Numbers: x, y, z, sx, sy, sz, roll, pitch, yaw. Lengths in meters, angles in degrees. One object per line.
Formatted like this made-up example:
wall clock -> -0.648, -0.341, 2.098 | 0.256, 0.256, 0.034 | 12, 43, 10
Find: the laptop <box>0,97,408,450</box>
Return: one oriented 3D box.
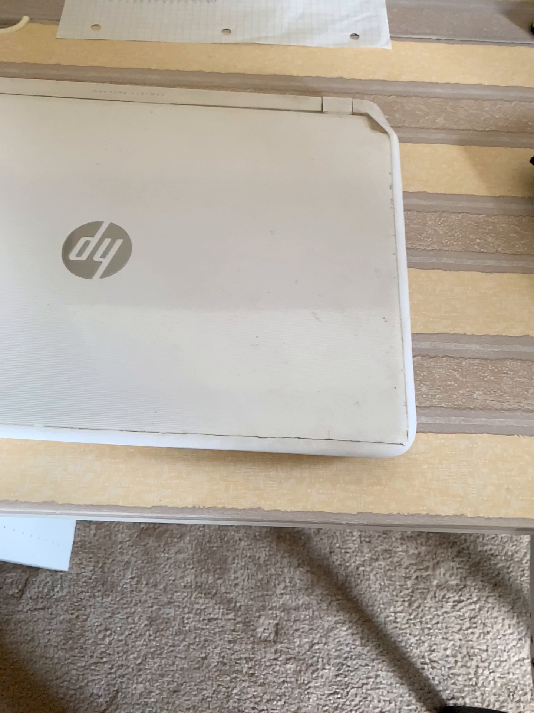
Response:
laptop -> -0.102, -0.065, 0.336 | 0.363, 0.002, 0.229 | 3, 66, 0
